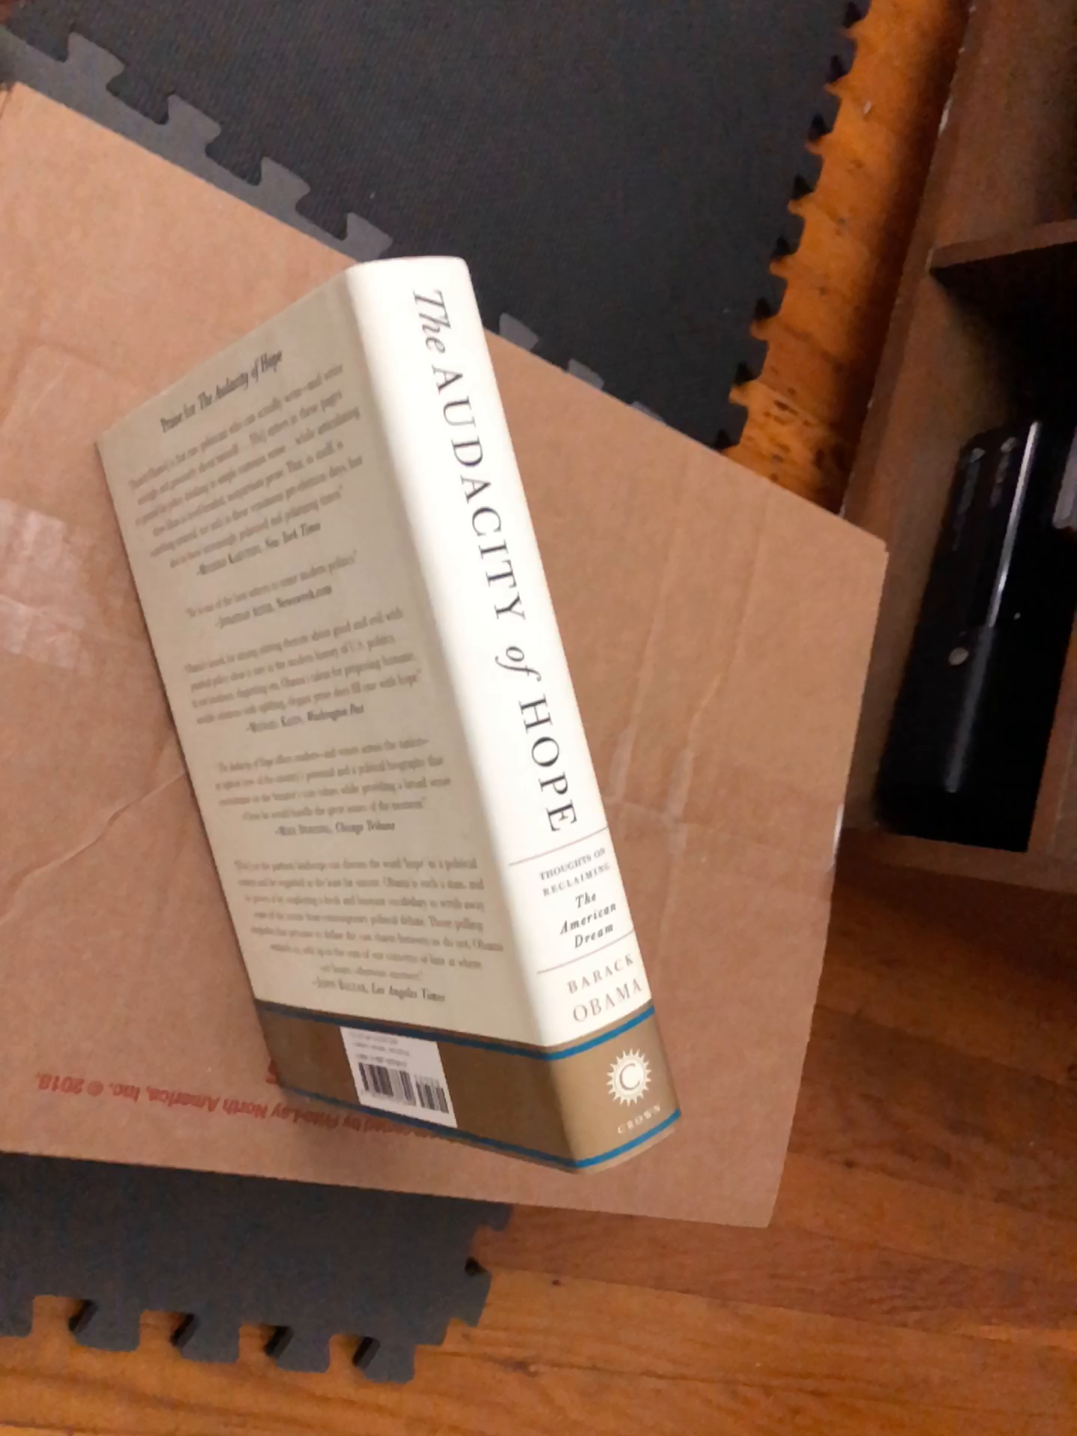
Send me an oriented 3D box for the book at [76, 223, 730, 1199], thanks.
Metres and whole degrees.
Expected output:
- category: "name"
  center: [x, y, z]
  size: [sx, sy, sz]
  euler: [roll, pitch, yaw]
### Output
- category: "book"
  center: [-0.051, 0.003, 0.377]
  size: [0.060, 0.169, 0.250]
  euler: [-19, 99, -42]
